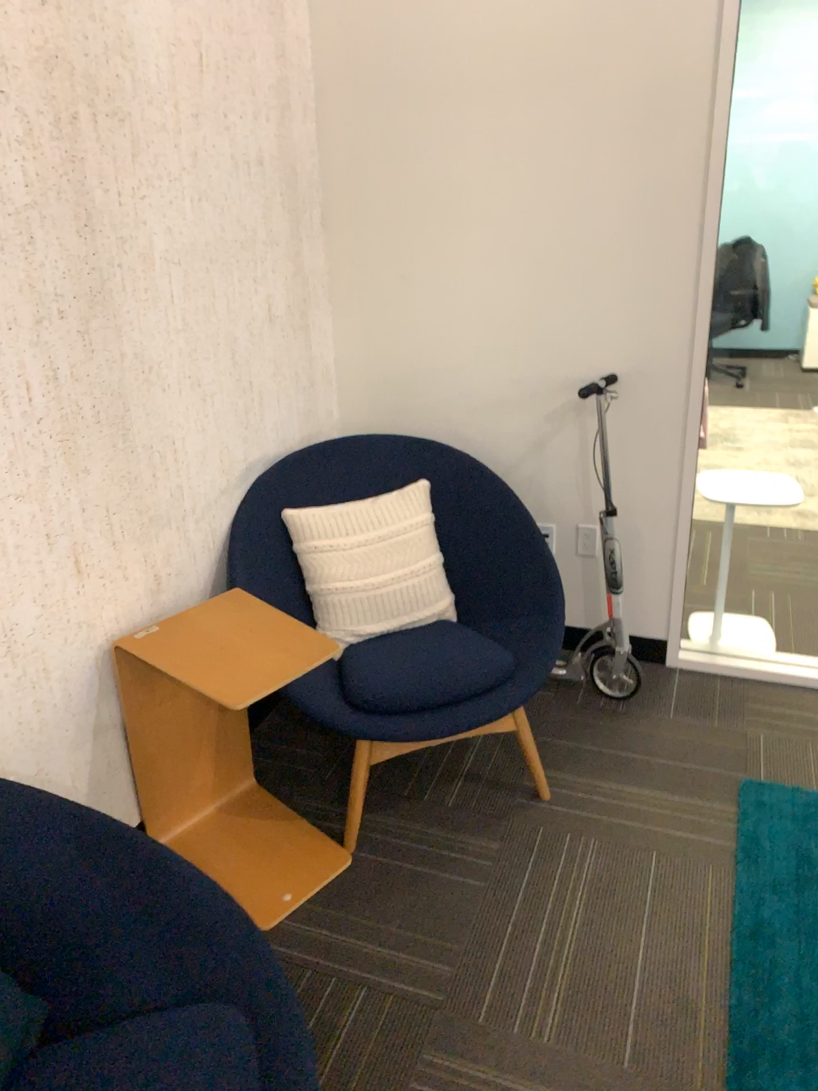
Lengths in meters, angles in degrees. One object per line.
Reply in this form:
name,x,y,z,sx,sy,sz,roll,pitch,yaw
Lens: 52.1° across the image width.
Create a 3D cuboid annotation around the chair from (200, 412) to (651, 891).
chair,-0.007,0.185,2.290,0.890,0.816,0.885,-10,24,-18
